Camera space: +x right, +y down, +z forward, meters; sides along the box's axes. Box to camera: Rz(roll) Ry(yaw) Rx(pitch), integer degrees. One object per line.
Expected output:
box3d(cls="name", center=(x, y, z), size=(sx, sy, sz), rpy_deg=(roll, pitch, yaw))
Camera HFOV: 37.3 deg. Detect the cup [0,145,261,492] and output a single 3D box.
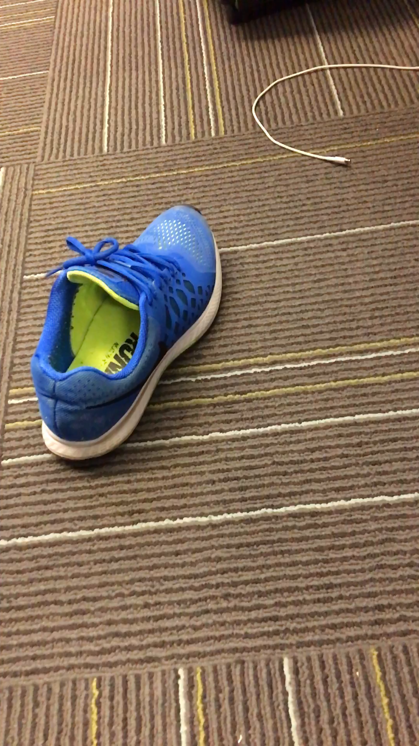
box3d(cls="cup", center=(-0.065, -0.064, 0.566), size=(0.130, 0.100, 0.300), rpy_deg=(14, 59, 17))
